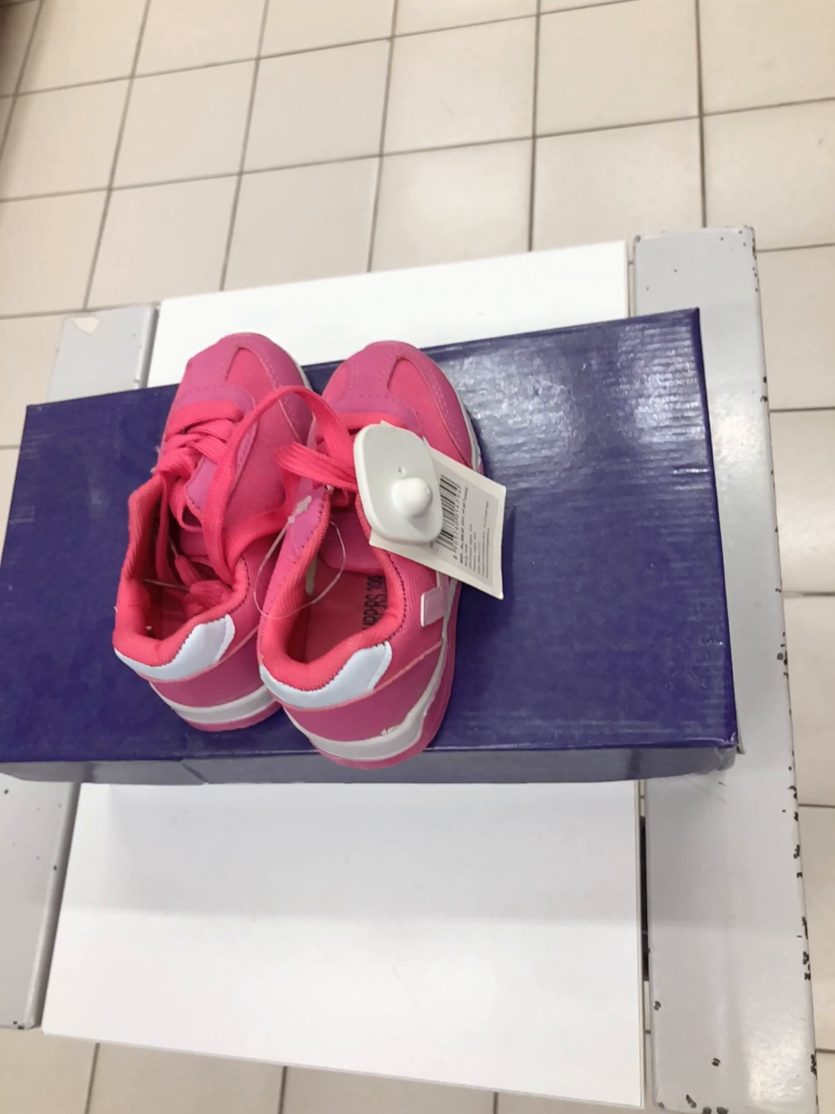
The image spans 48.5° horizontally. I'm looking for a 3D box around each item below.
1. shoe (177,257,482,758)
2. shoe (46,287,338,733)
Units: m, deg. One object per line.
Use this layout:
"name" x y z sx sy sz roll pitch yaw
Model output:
"shoe" -0.023 -0.012 0.346 0.080 0.090 0.160 -3 70 13
"shoe" -0.085 -0.014 0.388 0.070 0.090 0.160 -3 70 13
